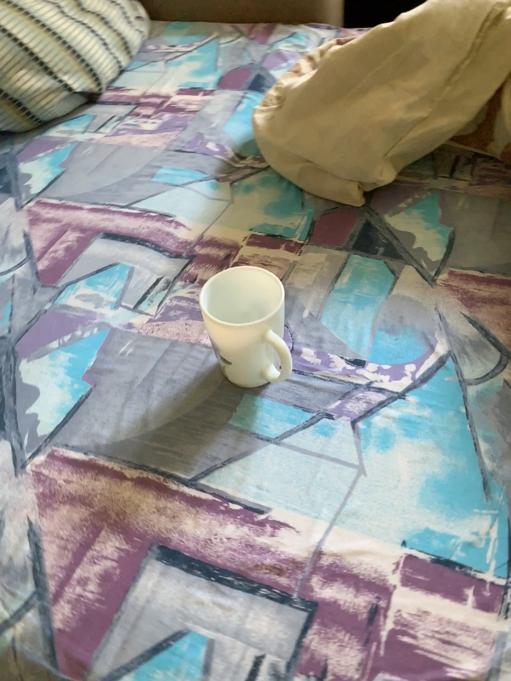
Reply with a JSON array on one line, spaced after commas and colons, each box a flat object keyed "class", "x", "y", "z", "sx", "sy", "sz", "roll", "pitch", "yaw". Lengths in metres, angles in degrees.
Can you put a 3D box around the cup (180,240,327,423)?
[{"class": "cup", "x": 0.000, "y": -0.010, "z": 0.498, "sx": 0.080, "sy": 0.099, "sz": 0.121, "roll": -28, "pitch": 52, "yaw": -13}]
